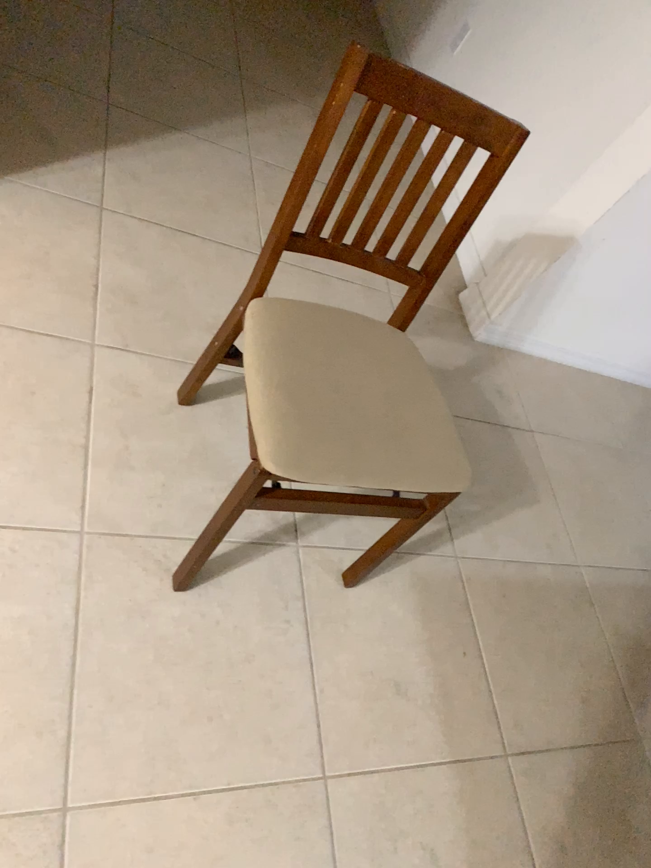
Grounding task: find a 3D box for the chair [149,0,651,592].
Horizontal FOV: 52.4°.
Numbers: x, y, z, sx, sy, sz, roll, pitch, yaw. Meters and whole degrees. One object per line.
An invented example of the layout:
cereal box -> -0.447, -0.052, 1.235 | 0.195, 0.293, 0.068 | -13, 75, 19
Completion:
chair -> 0.018, -0.141, 1.254 | 0.451, 0.882, 0.594 | 9, 55, -29
